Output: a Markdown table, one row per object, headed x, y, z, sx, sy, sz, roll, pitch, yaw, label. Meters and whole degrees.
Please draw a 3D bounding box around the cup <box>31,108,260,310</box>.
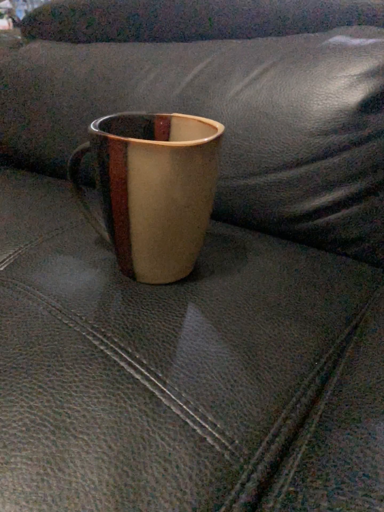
| x | y | z | sx | sy | sz | roll | pitch | yaw | label |
| --- | --- | --- | --- | --- | --- | --- | --- | --- | --- |
| -0.031 | -0.046 | 0.321 | 0.138 | 0.109 | 0.098 | 13 | 33 | 19 | cup |
